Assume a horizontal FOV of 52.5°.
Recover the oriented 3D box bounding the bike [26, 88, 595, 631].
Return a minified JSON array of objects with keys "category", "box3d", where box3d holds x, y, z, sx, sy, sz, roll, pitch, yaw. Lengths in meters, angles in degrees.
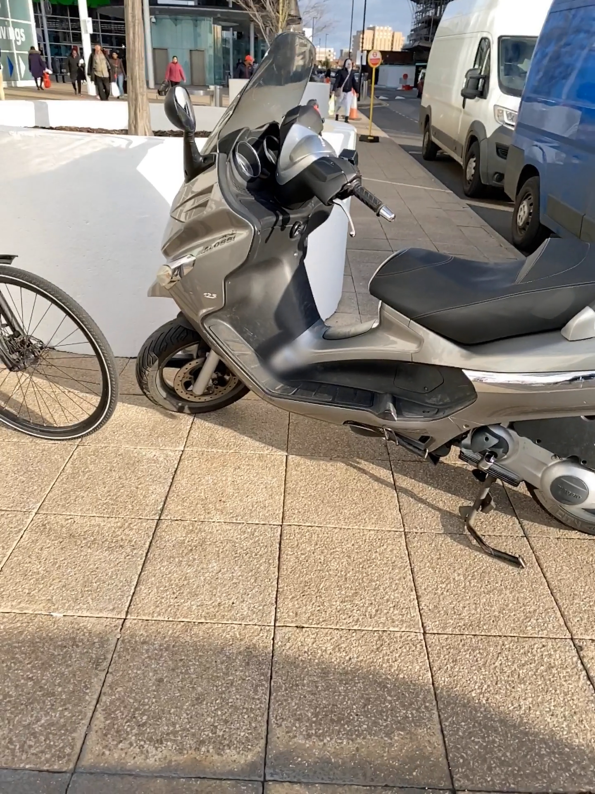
[{"category":"bike","box3d":[0.273,-0.215,1.683,1.653,1.062,0.658,12,30,17]}]
